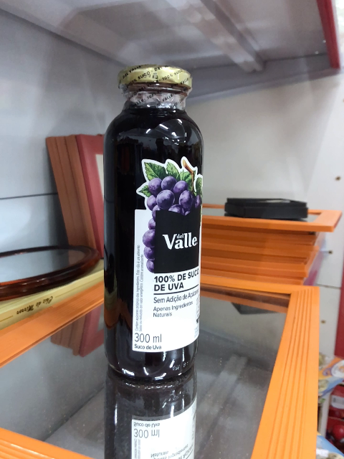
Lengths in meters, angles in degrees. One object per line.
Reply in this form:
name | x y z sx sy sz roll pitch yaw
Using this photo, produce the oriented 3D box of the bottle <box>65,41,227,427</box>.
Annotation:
bottle | -0.018 0.002 0.232 0.070 0.189 0.060 -5 11 -40
